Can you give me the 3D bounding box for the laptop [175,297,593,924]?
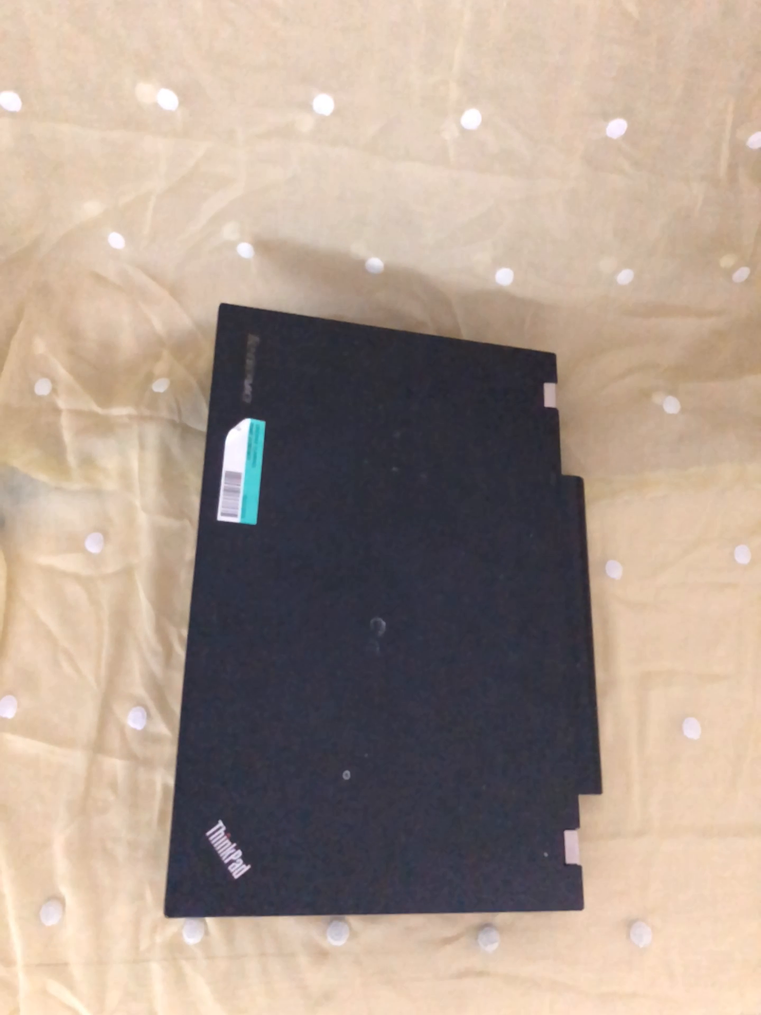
[{"bbox_3d":[0.005,0.050,0.528,0.225,0.050,0.356,3,73,0],"label":"laptop"}]
